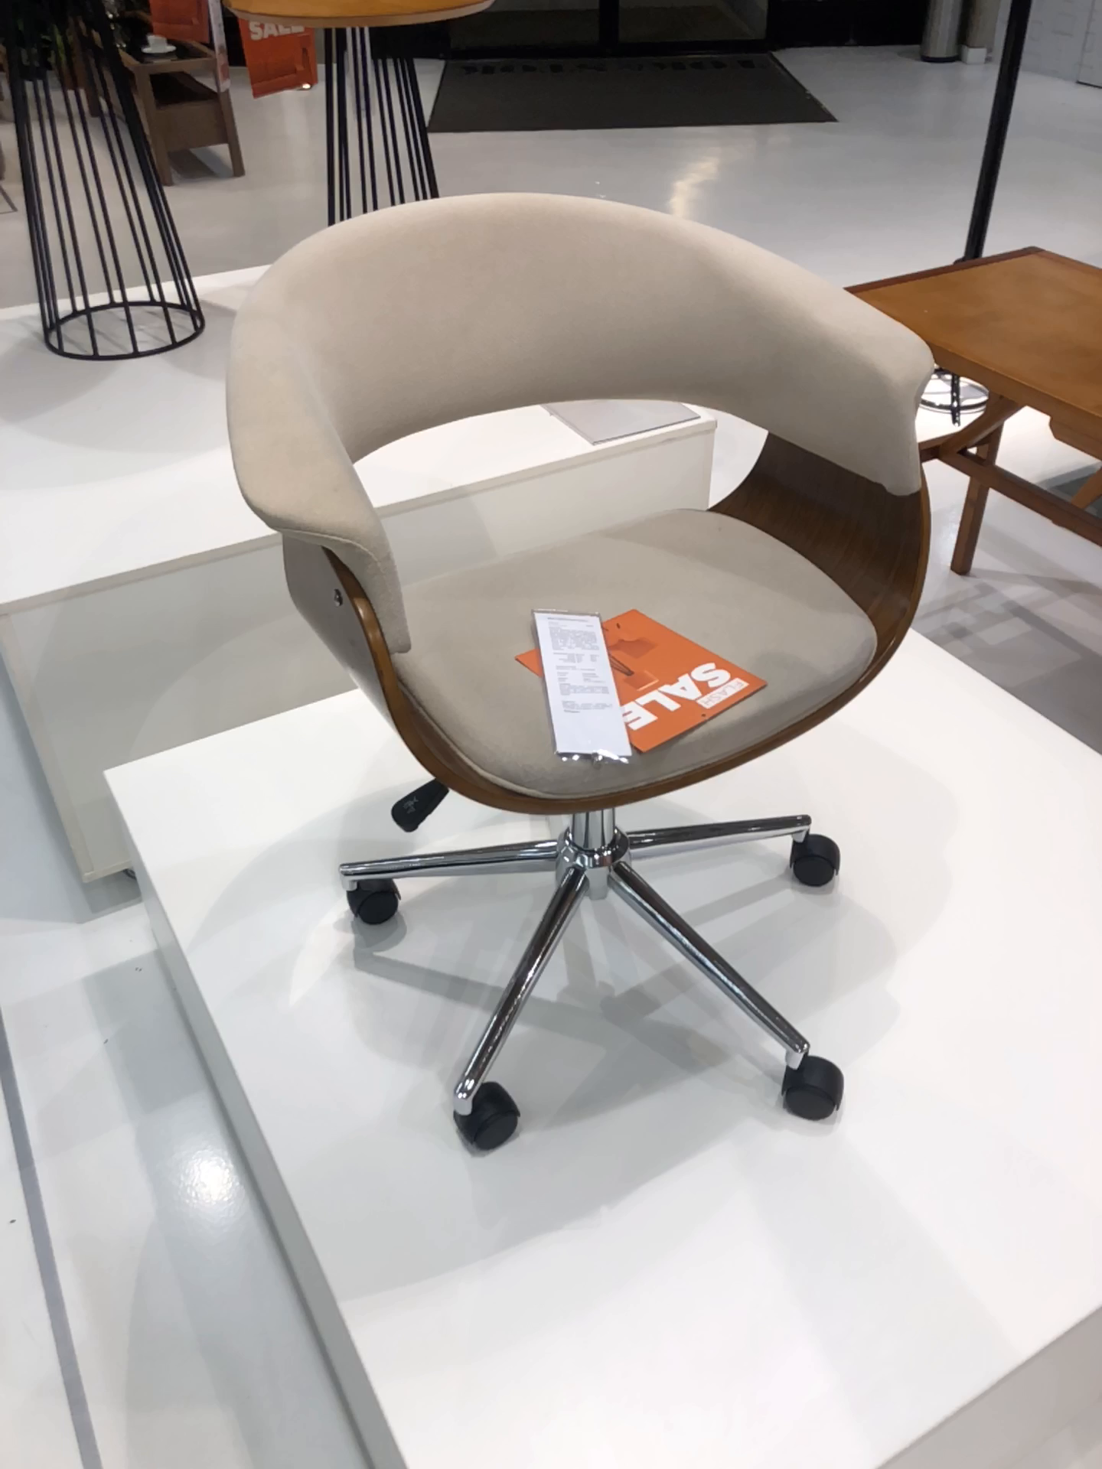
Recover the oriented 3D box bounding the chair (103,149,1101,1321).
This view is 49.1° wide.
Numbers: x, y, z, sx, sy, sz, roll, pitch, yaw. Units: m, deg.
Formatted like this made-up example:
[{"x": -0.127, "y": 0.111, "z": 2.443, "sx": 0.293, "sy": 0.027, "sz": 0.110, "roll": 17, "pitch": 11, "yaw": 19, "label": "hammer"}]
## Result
[{"x": 0.060, "y": -0.065, "z": 1.165, "sx": 0.631, "sy": 0.725, "sz": 0.674, "roll": -21, "pitch": 42, "yaw": -23, "label": "chair"}]
